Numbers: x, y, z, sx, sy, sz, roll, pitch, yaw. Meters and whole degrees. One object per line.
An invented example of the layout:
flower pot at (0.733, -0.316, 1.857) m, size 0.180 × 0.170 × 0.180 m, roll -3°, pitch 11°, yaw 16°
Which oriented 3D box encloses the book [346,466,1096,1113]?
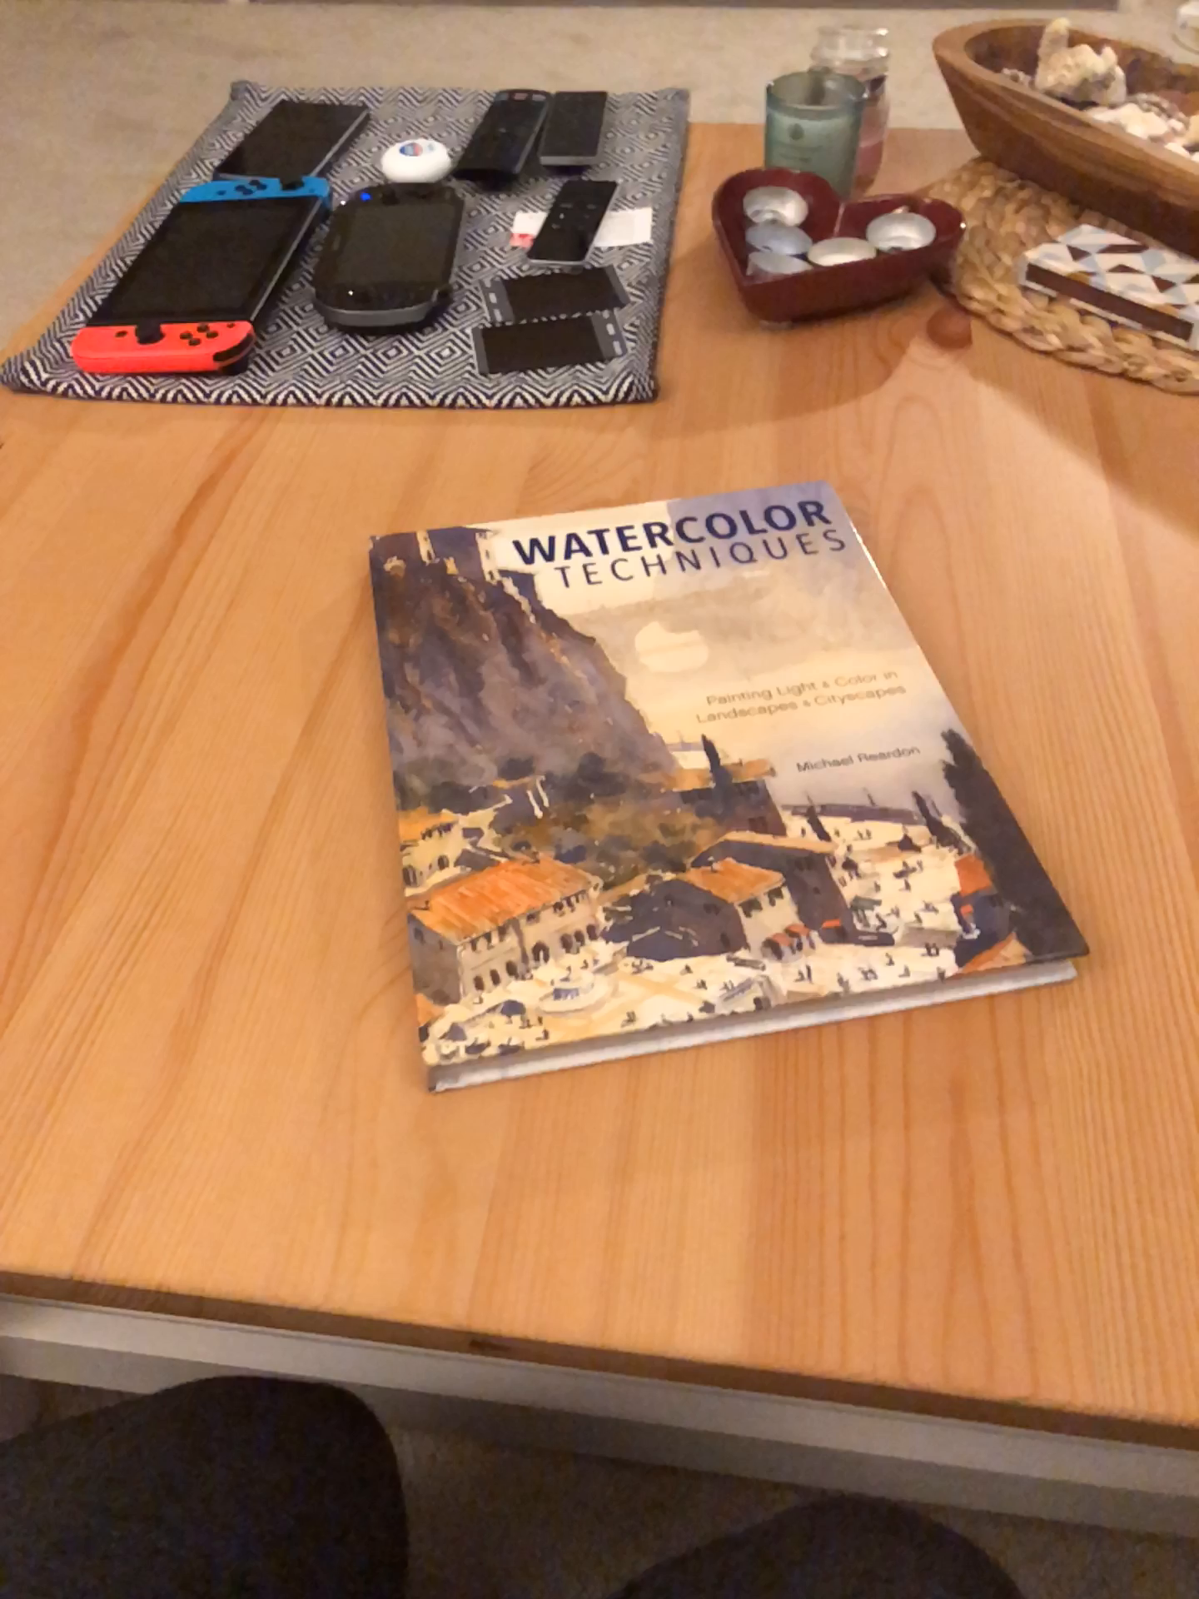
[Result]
book at (0.022, -0.028, 0.497) m, size 0.213 × 0.020 × 0.280 m, roll -9°, pitch 47°, yaw -7°
